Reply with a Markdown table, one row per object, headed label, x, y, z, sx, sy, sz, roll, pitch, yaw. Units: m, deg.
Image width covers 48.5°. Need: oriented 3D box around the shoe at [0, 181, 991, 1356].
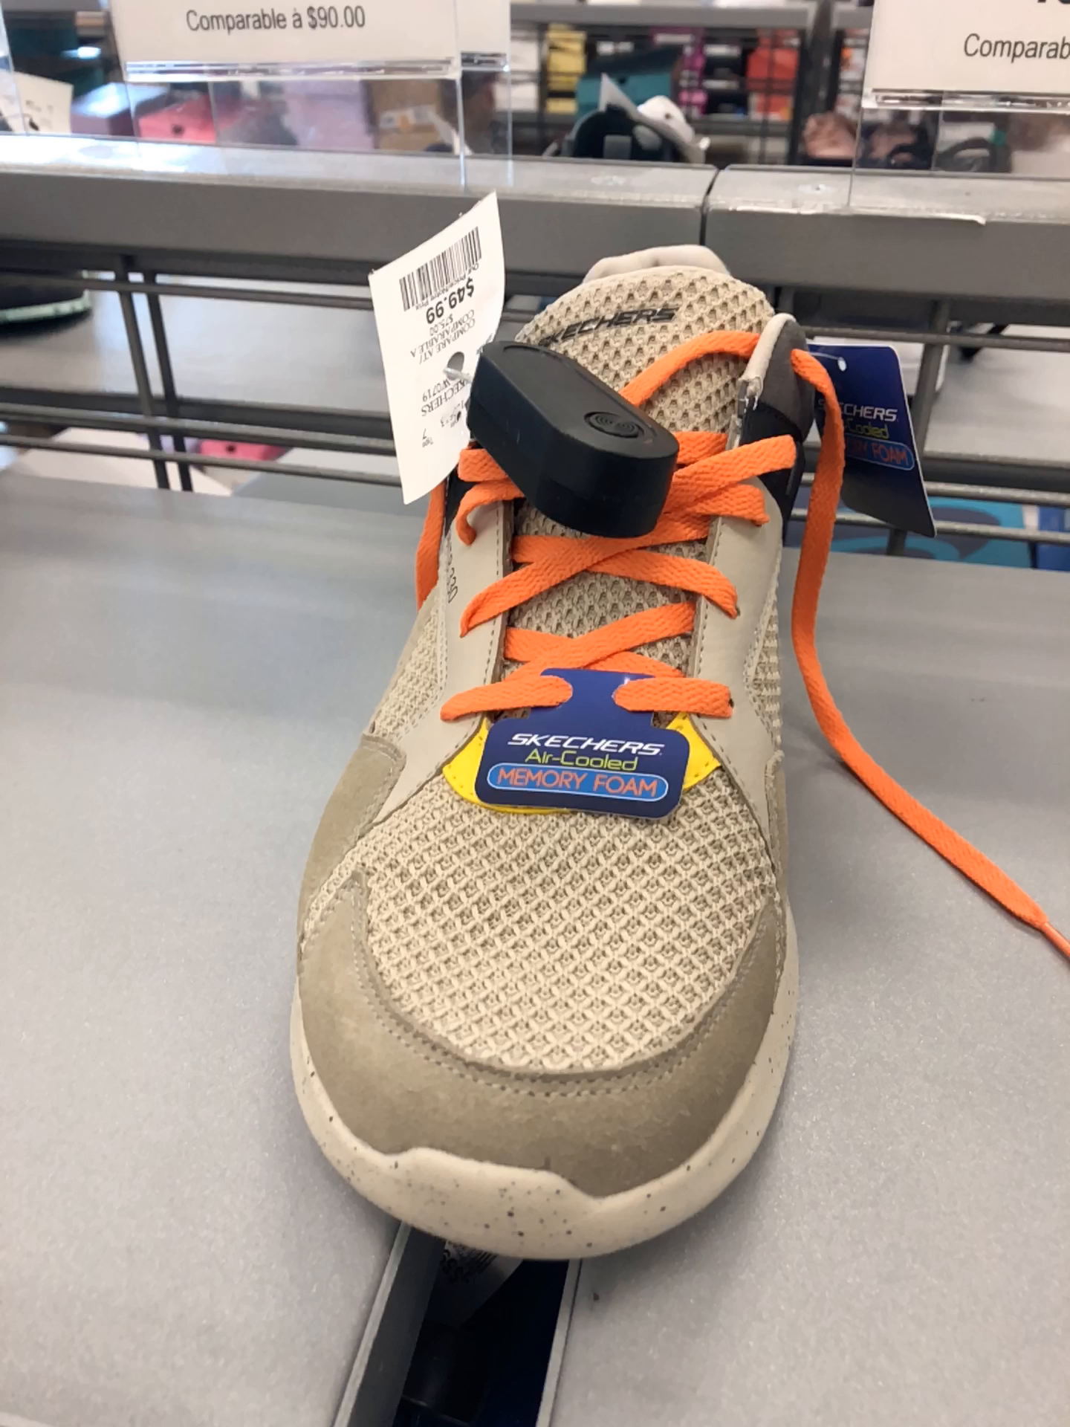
| label | x | y | z | sx | sy | sz | roll | pitch | yaw |
| --- | --- | --- | --- | --- | --- | --- | --- | --- | --- |
| shoe | 0.010 | -0.027 | 0.283 | 0.125 | 0.109 | 0.282 | 5 | 40 | 7 |
